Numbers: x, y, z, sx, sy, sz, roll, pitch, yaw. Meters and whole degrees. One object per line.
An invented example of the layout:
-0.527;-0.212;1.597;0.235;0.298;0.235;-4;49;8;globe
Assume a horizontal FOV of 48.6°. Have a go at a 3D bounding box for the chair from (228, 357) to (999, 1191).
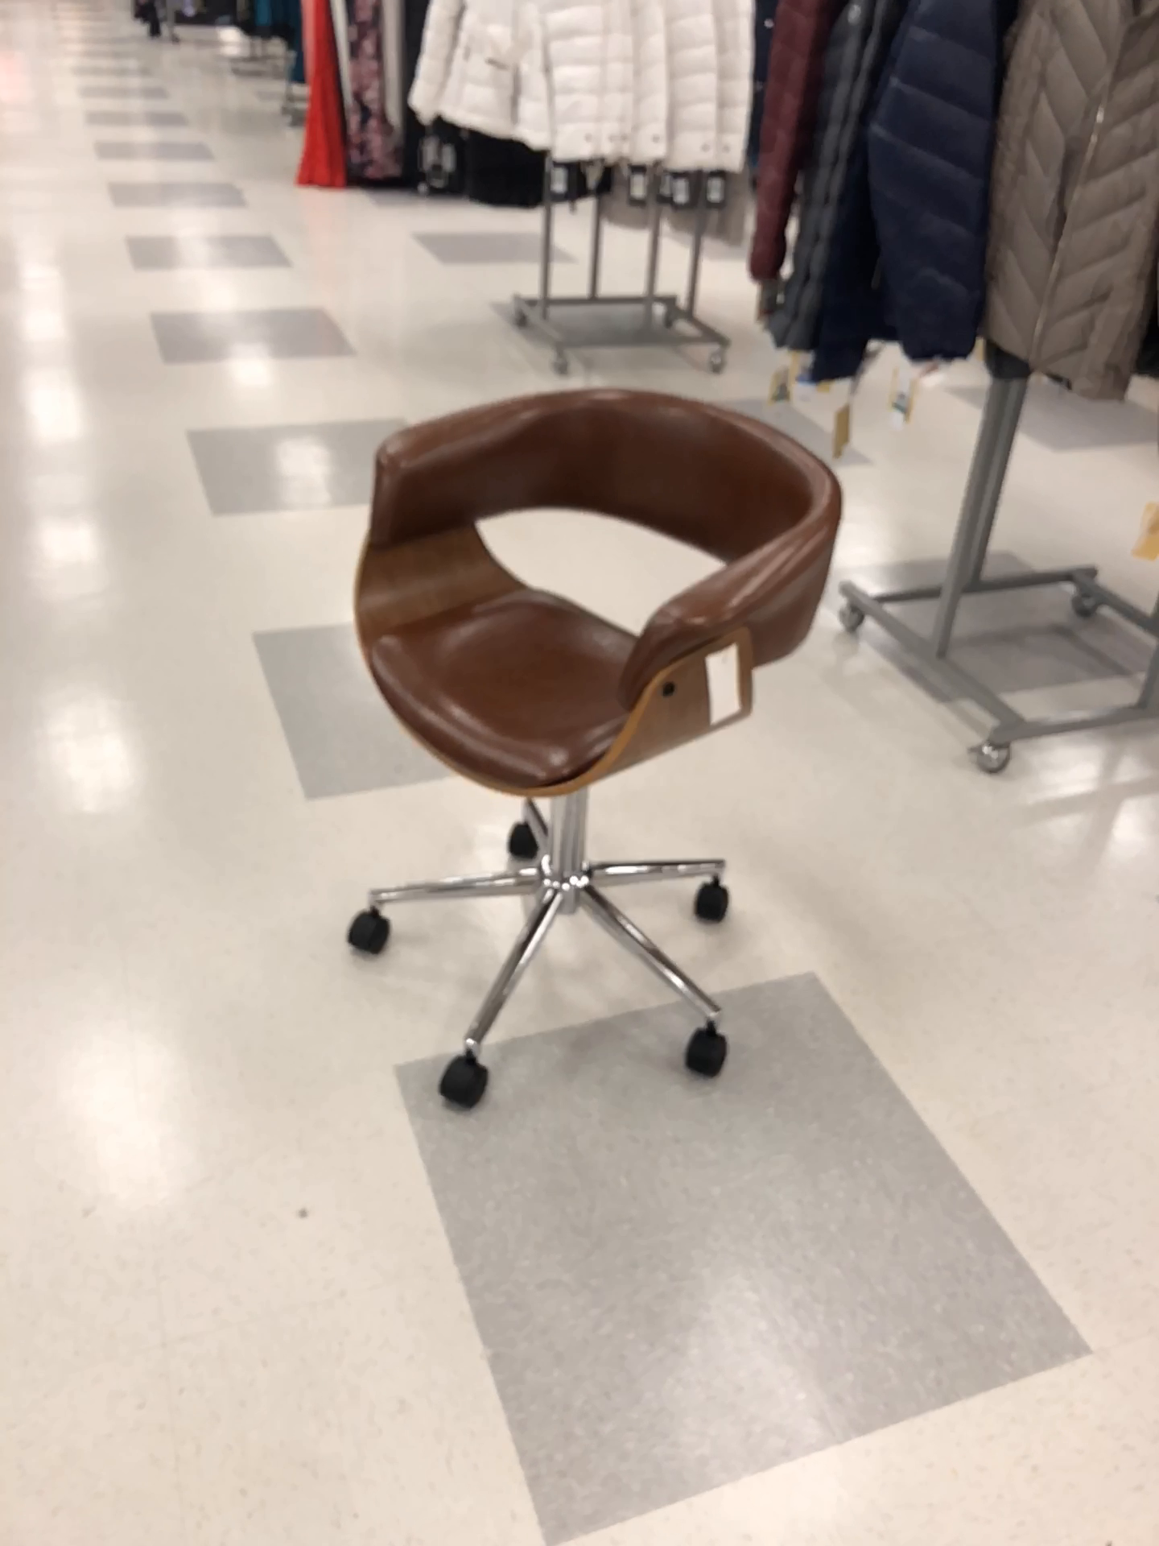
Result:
0.011;-0.055;1.610;0.628;0.696;0.590;-21;40;-33;chair
